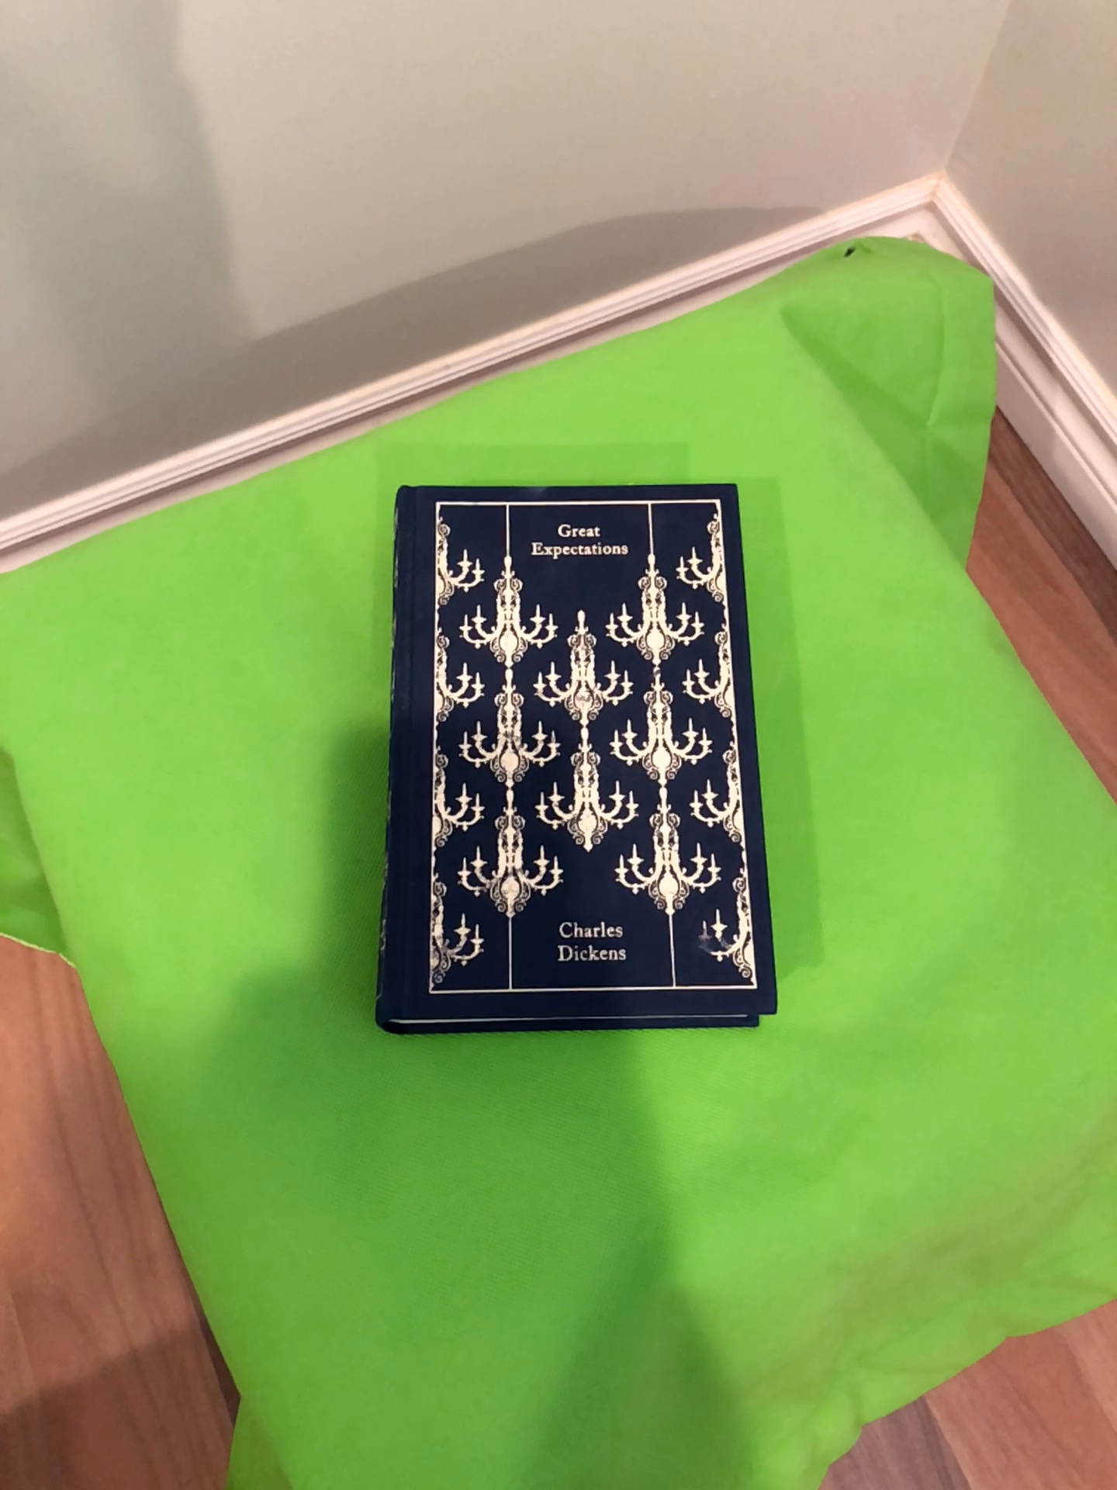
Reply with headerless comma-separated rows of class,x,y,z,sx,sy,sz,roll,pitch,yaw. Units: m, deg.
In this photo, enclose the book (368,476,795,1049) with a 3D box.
book,0.005,0.002,0.460,0.140,0.040,0.210,-1,69,-1
